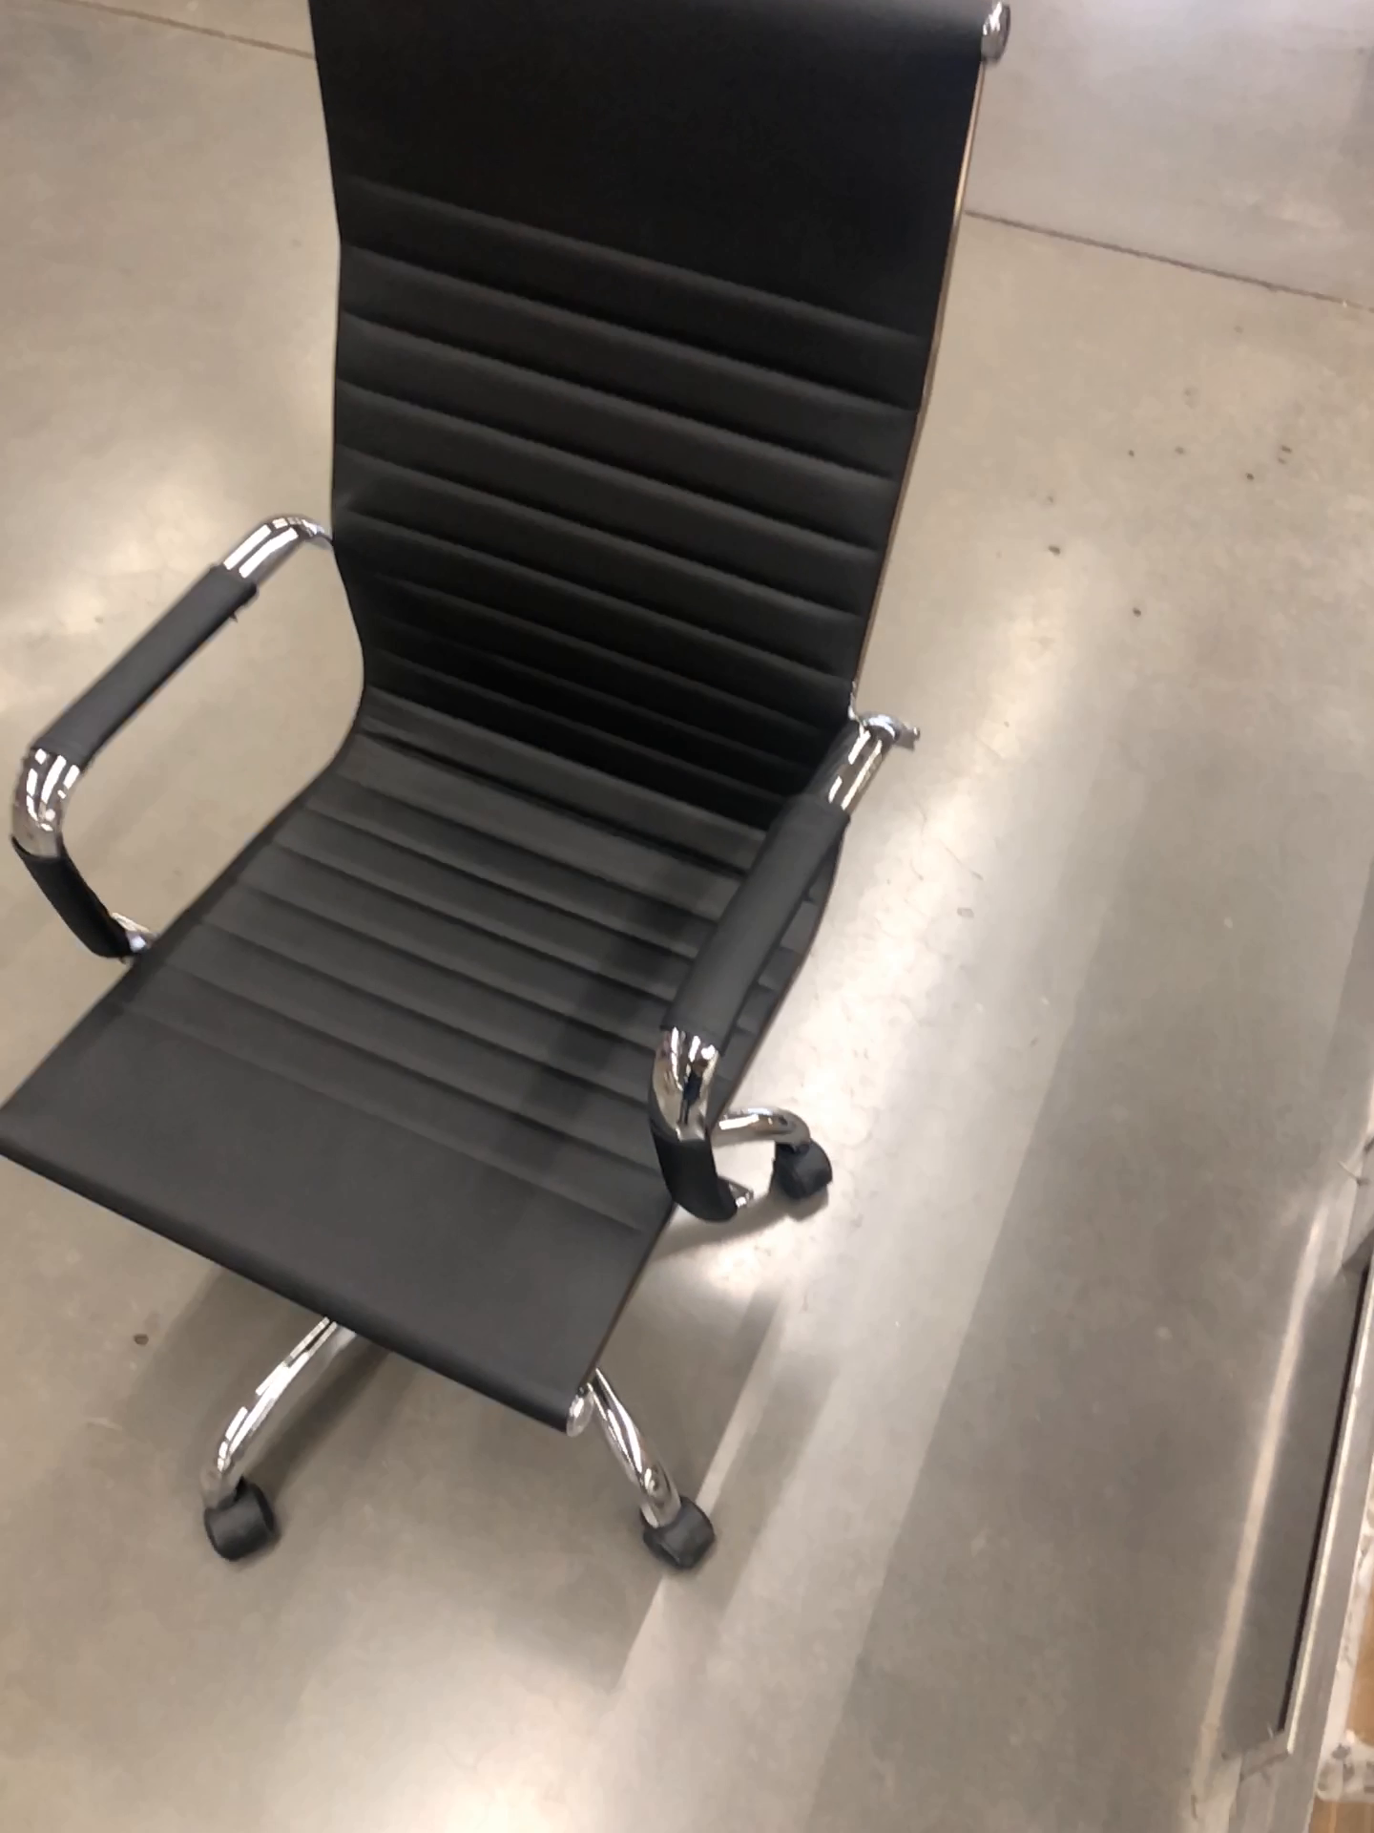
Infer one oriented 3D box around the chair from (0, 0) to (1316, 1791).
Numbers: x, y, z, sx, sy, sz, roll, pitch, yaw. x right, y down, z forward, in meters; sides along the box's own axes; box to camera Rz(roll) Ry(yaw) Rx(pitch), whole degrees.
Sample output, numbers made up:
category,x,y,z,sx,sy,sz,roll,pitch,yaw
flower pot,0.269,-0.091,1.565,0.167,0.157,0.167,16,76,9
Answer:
category,x,y,z,sx,sy,sz,roll,pitch,yaw
chair,-0.170,0.012,1.089,0.670,1.094,0.744,24,56,13
